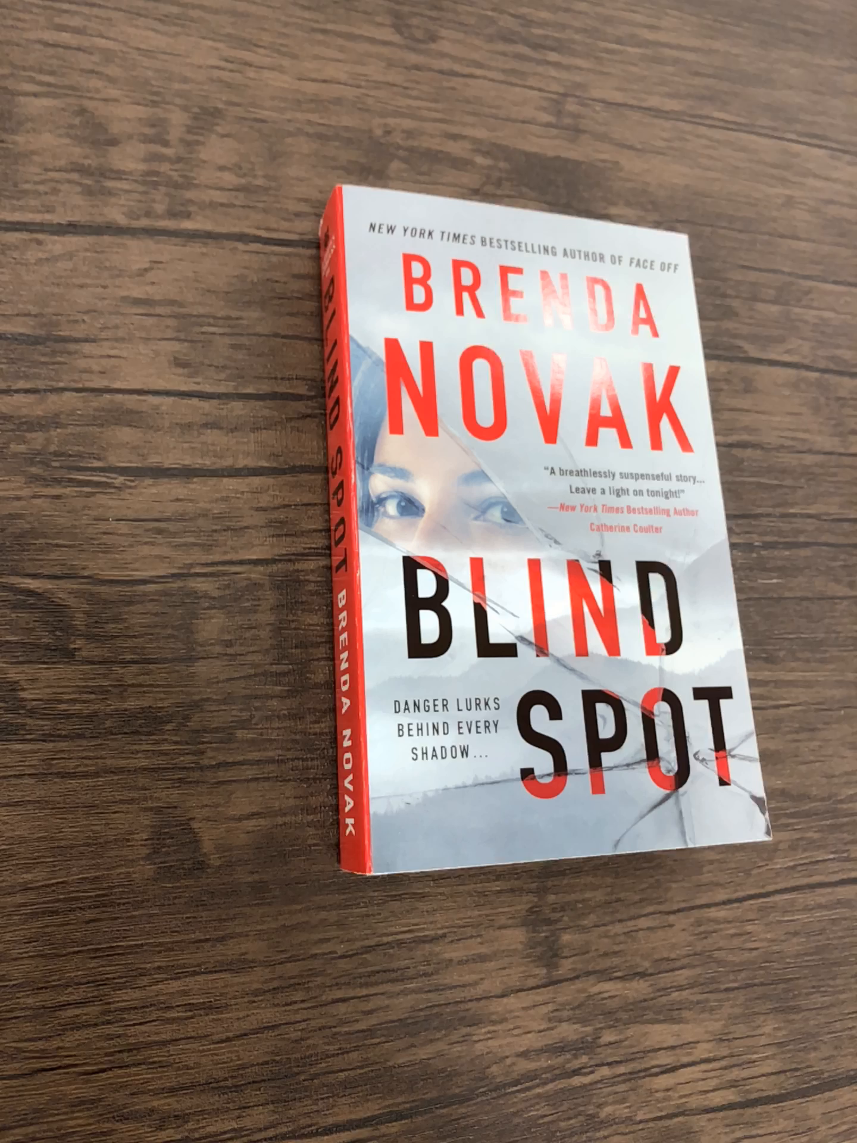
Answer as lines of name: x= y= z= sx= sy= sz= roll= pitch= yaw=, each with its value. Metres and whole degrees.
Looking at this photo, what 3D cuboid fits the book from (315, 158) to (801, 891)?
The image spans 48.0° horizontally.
book: x=0.031 y=-0.013 z=0.259 sx=0.110 sy=0.039 sz=0.175 roll=1 pitch=77 yaw=-20
